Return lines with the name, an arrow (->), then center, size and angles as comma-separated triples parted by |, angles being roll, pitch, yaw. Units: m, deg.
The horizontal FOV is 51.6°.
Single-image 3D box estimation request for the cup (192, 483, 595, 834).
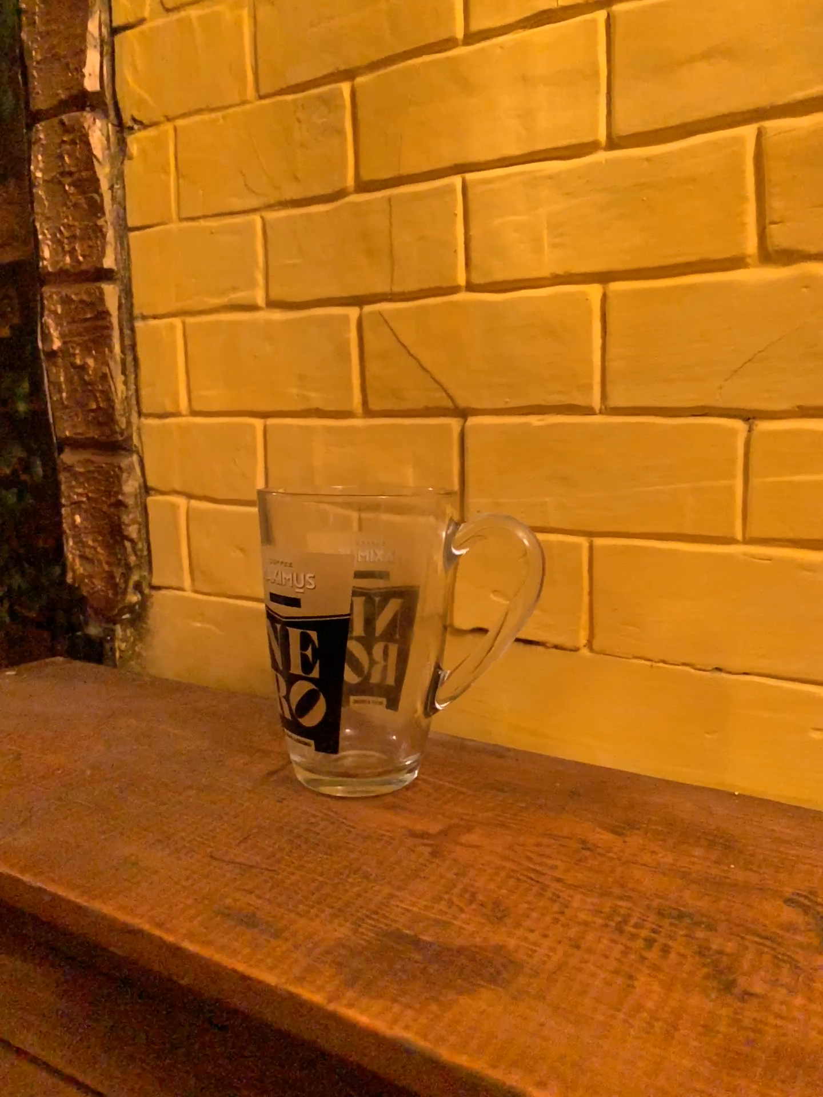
cup -> -0.002, 0.030, 0.329 | 0.124, 0.099, 0.093 | 4, 11, 25
